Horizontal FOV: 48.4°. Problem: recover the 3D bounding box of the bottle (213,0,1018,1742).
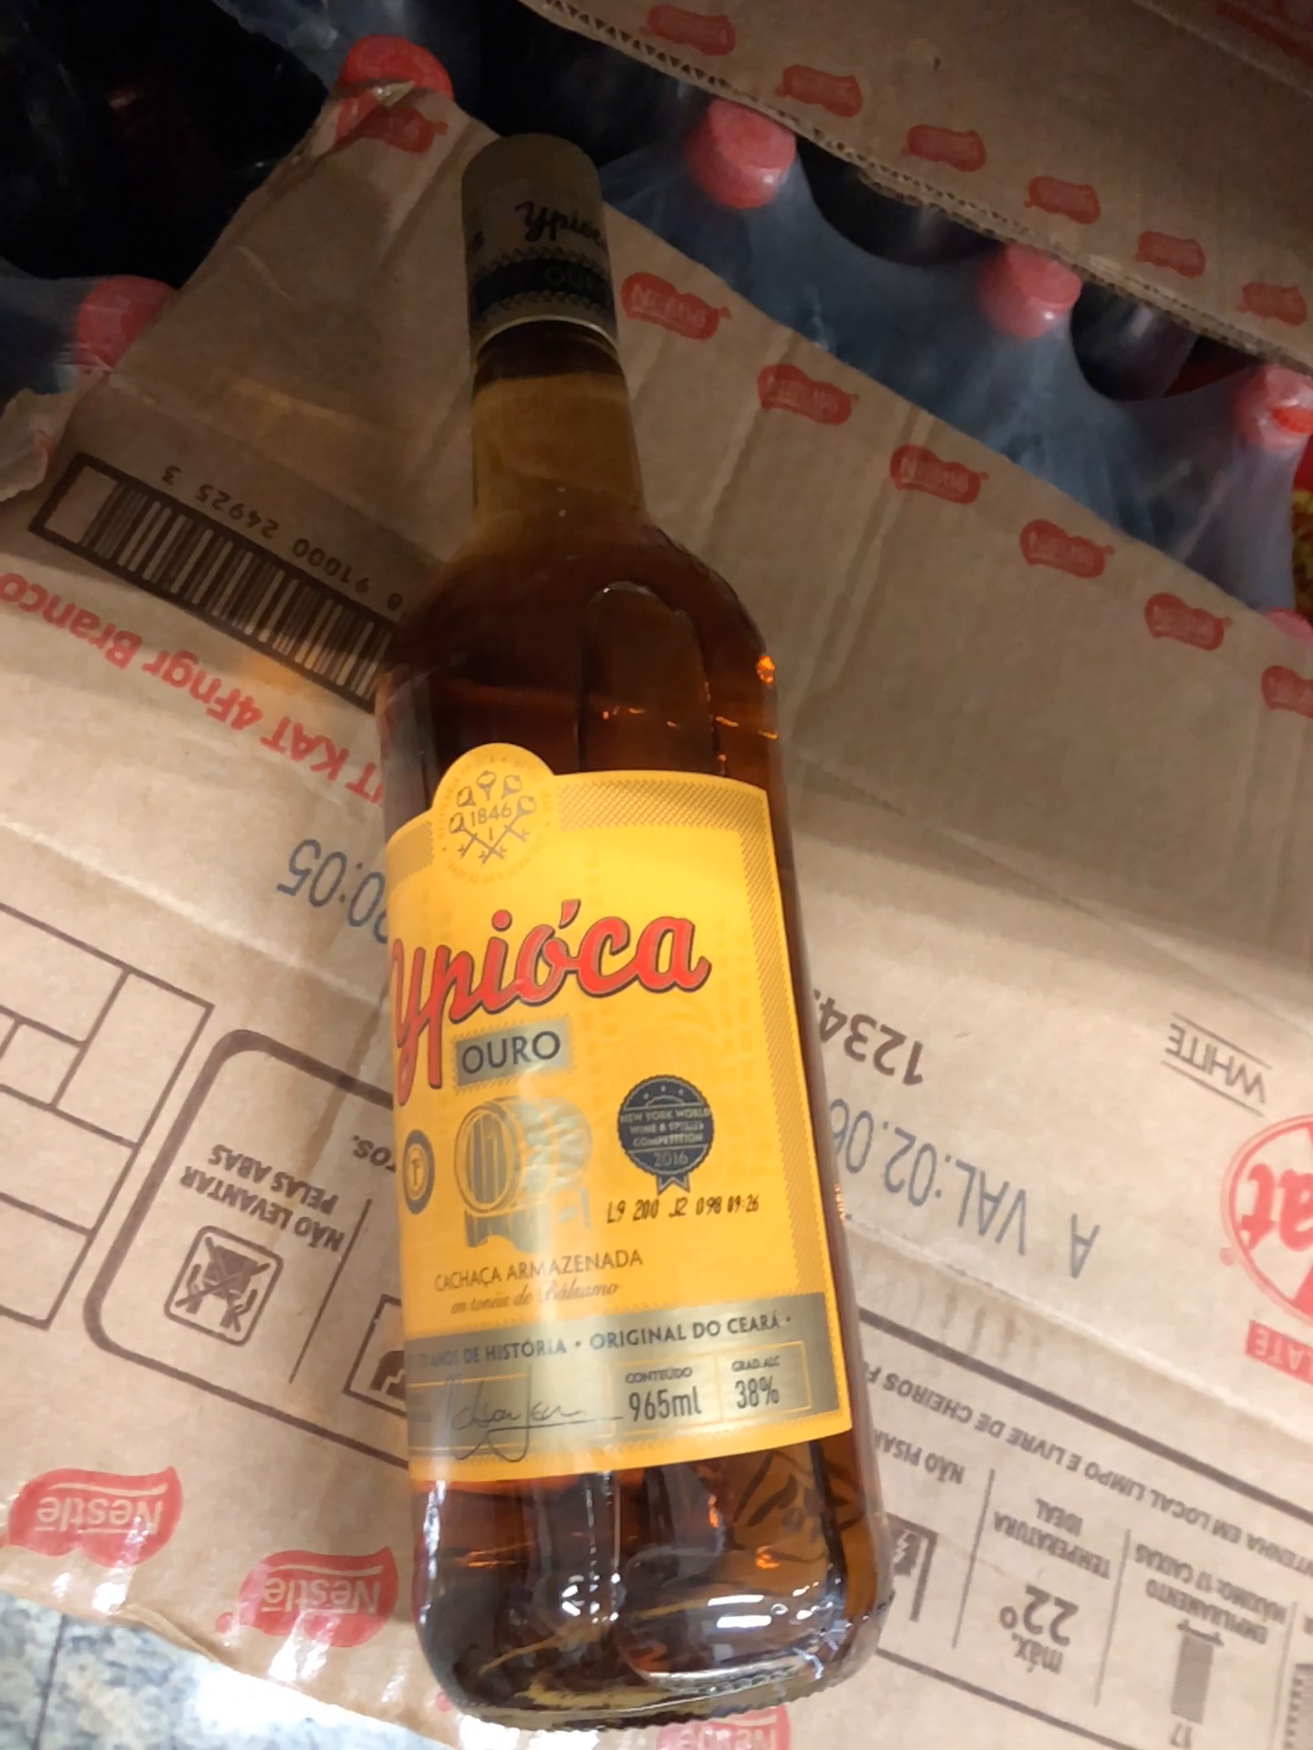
[{"bbox_3d":[-0.014,-0.029,0.269,0.090,0.080,0.310,20,59,-58],"label":"bottle"}]
